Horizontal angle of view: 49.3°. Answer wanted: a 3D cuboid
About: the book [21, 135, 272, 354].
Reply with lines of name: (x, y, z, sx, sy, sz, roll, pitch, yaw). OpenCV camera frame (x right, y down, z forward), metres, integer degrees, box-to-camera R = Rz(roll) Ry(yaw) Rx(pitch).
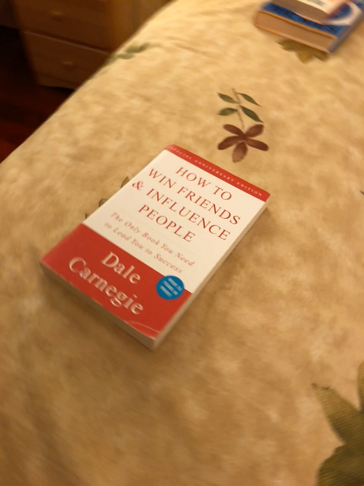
book: (-0.026, -0.018, 0.411, 0.150, 0.020, 0.221, 30, 58, 19)
